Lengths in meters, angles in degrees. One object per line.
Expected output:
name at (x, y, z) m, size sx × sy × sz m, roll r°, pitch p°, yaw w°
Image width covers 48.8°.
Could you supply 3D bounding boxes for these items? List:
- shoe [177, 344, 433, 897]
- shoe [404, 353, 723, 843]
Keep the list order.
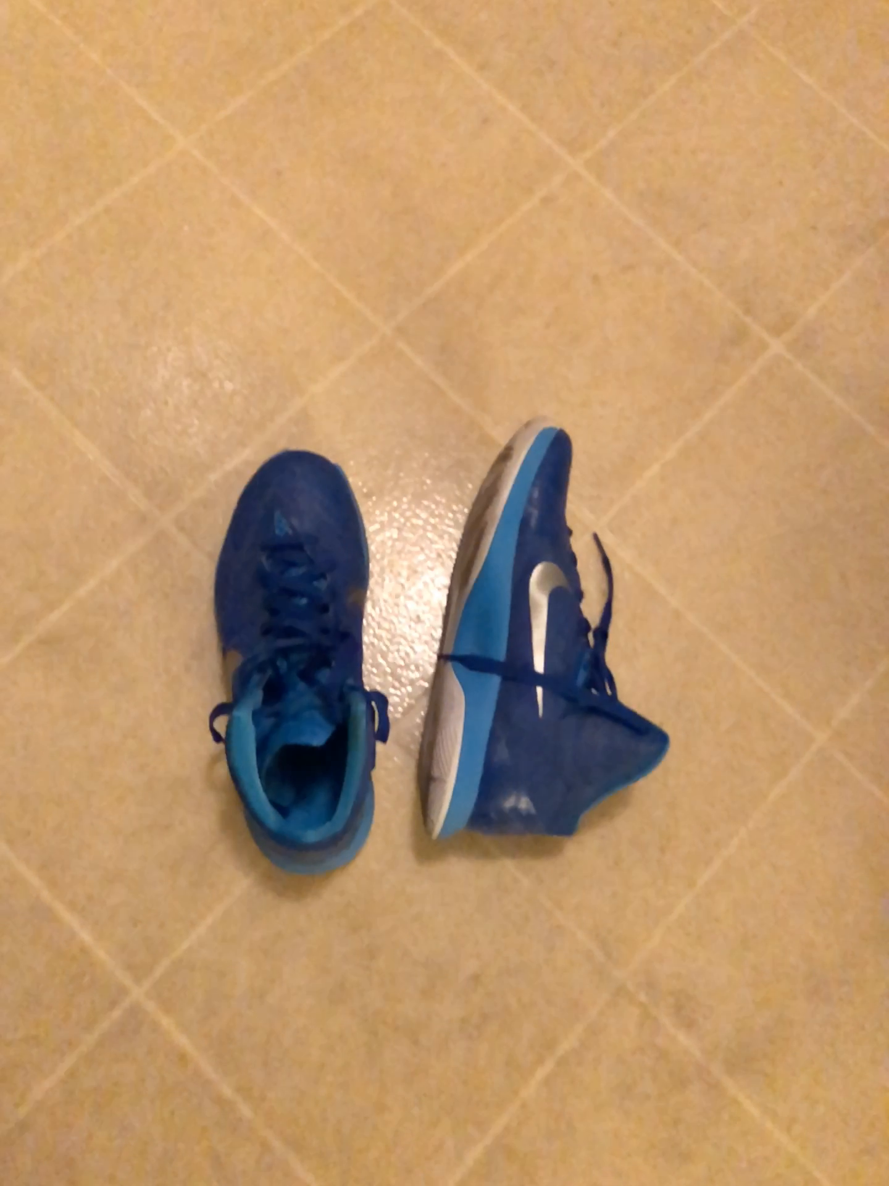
shoe at (-0.090, 0.021, 0.623) m, size 0.120 × 0.145 × 0.310 m, roll -5°, pitch 76°, yaw -7°
shoe at (0.077, 0.011, 0.647) m, size 0.159 × 0.120 × 0.282 m, roll 9°, pitch 75°, yaw -9°
